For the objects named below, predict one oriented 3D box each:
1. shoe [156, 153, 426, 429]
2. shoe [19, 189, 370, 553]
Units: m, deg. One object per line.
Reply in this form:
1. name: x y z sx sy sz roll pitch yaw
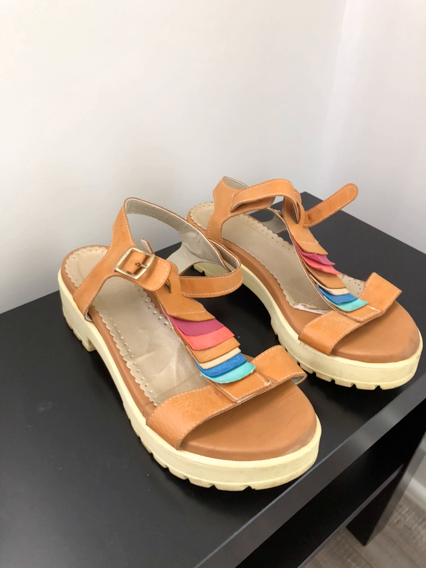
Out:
1. shoe: 0.064 -0.017 0.384 0.100 0.077 0.248 -24 46 -30
2. shoe: -0.032 0.032 0.329 0.100 0.083 0.248 -24 46 -30
